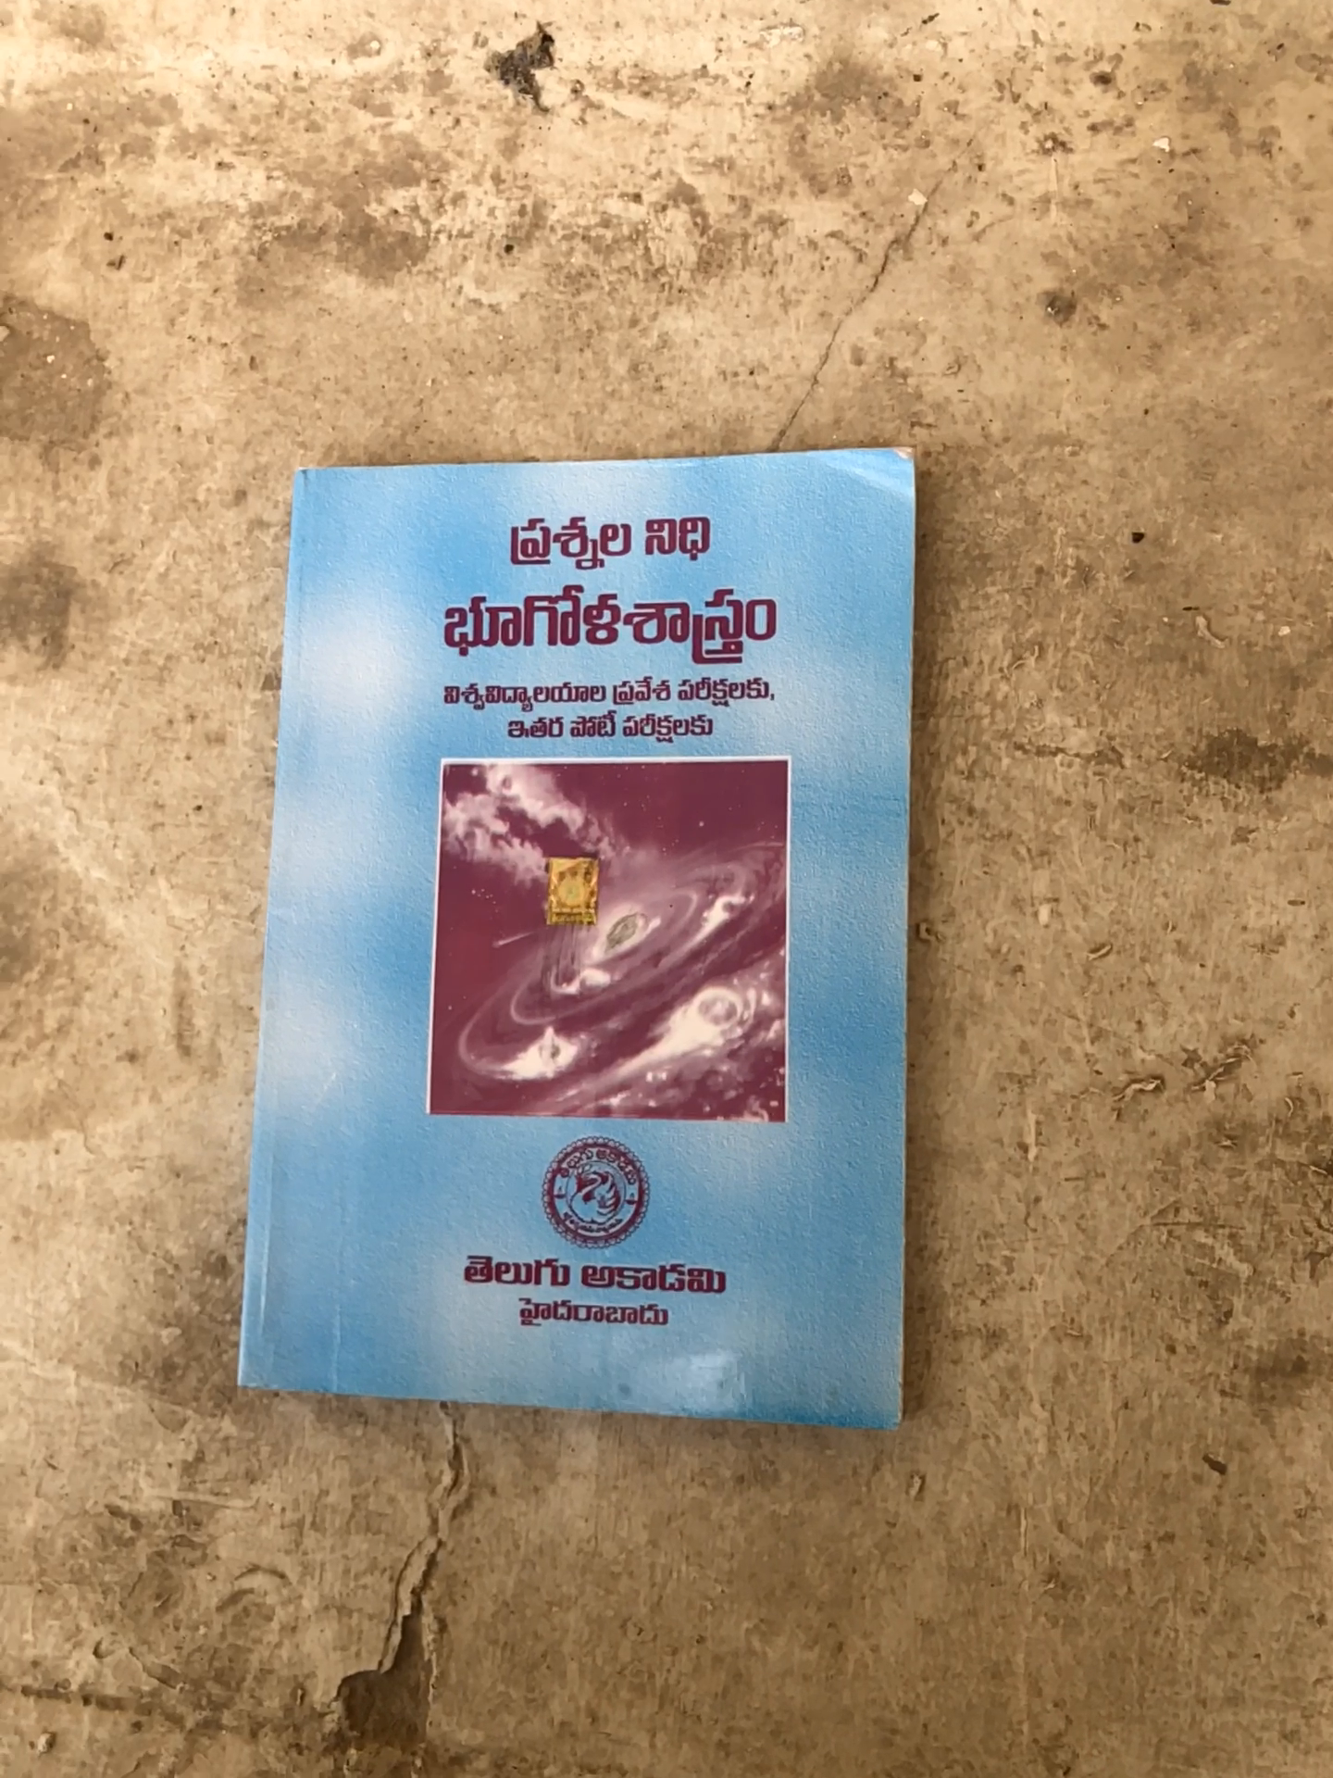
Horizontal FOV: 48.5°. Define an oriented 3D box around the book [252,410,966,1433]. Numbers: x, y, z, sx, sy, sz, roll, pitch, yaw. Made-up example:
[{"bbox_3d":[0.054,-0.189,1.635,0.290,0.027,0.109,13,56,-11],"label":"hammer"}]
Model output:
[{"bbox_3d":[-0.013,0.005,0.423,0.190,0.040,0.270,0,83,8],"label":"book"}]
